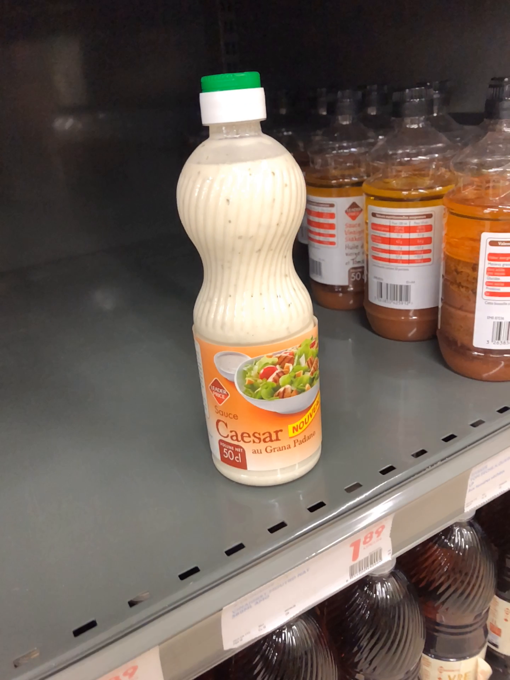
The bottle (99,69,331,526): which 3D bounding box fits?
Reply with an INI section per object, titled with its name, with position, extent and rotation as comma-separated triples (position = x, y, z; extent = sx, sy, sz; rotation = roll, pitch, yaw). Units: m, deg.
[bottle]
position = -0.016, -0.023, 0.323
extent = 0.080, 0.229, 0.080
rotation = -4, 23, 2
